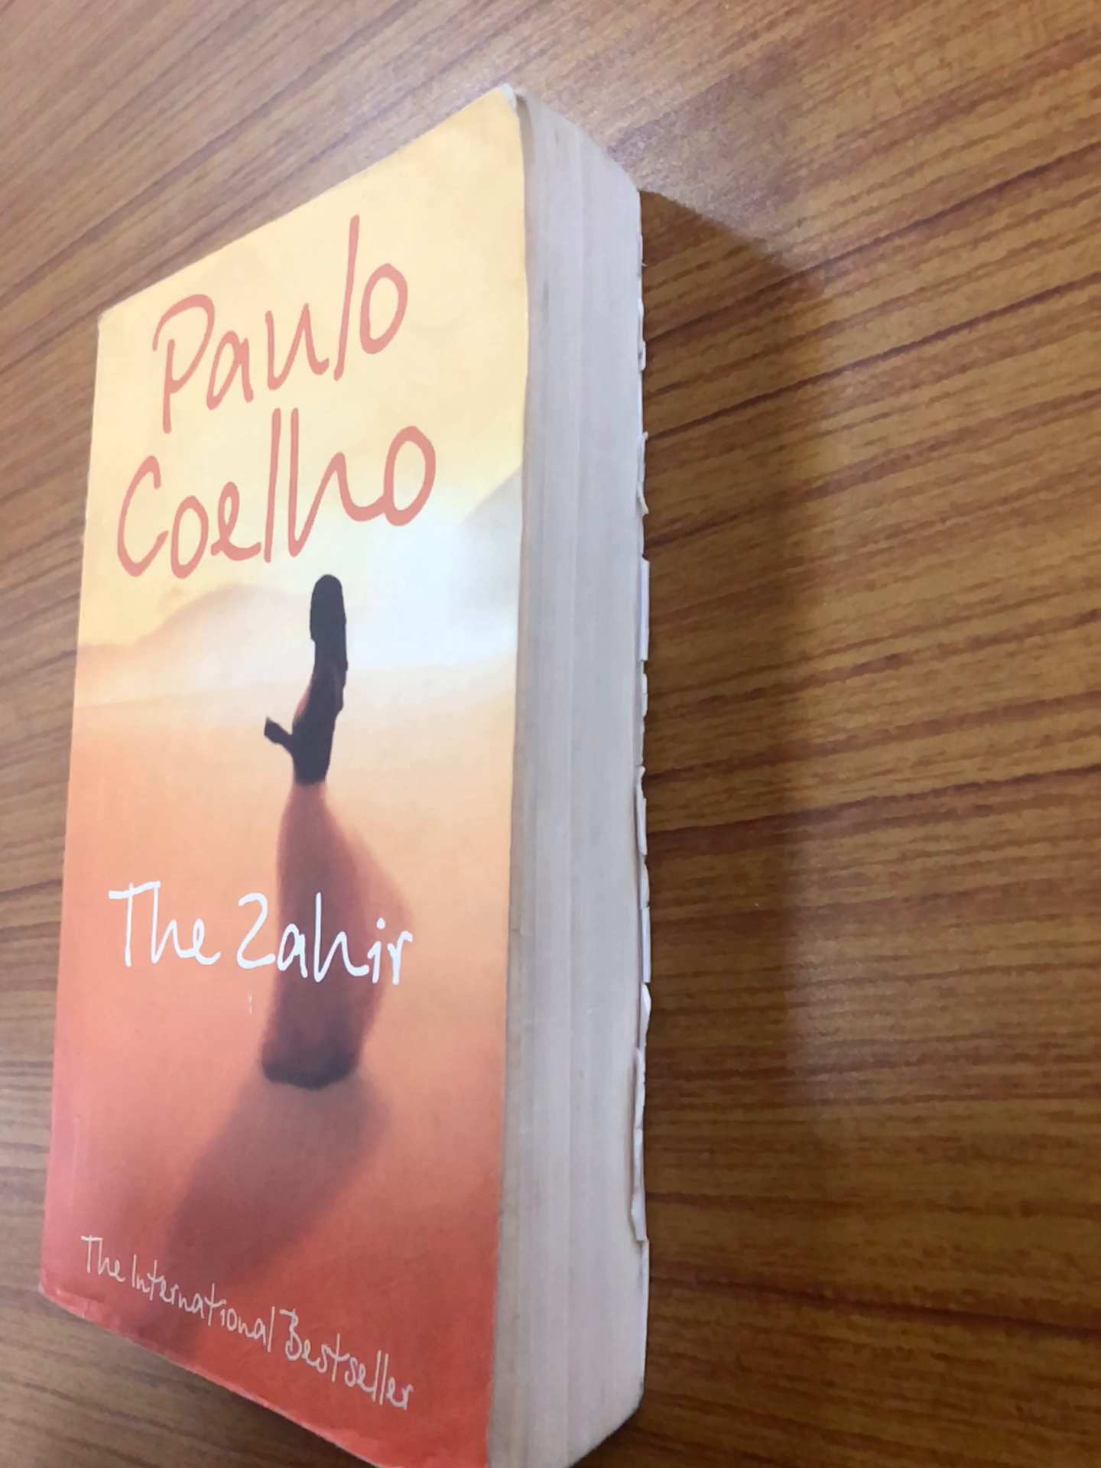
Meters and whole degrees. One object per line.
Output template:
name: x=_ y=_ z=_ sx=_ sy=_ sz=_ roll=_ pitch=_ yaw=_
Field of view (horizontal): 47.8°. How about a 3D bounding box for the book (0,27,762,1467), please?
book: x=-0.031 y=0.009 z=0.194 sx=0.121 sy=0.040 sz=0.180 roll=-6 pitch=79 yaw=39
